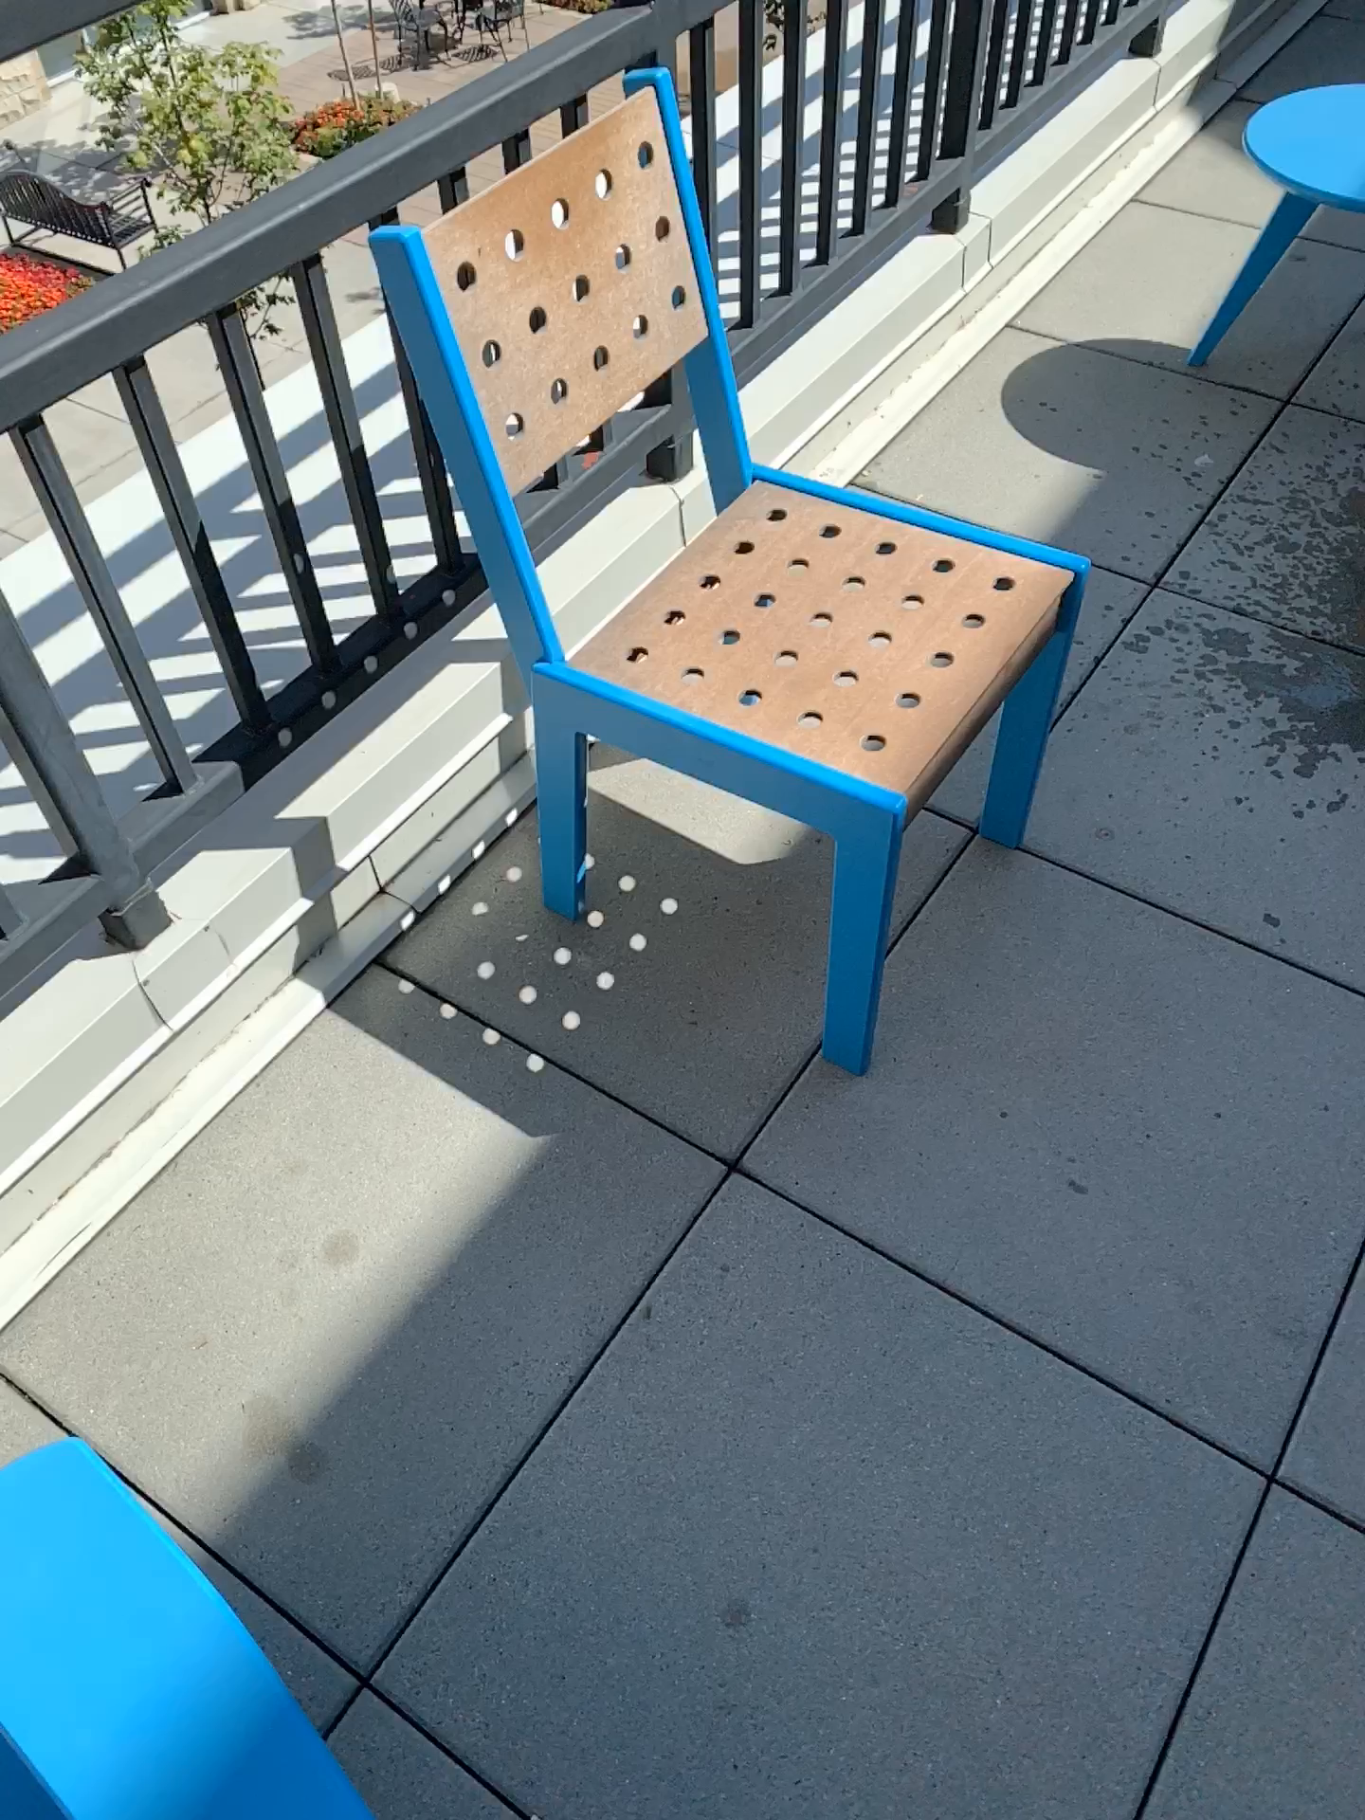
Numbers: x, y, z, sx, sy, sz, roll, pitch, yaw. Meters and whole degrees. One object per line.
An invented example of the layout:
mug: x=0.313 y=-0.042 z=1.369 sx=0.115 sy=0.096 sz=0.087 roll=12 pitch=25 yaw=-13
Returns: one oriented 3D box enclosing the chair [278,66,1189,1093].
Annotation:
chair: x=0.062 y=-0.347 z=1.573 sx=0.671 sy=0.857 sz=0.471 roll=26 pitch=56 yaw=23
